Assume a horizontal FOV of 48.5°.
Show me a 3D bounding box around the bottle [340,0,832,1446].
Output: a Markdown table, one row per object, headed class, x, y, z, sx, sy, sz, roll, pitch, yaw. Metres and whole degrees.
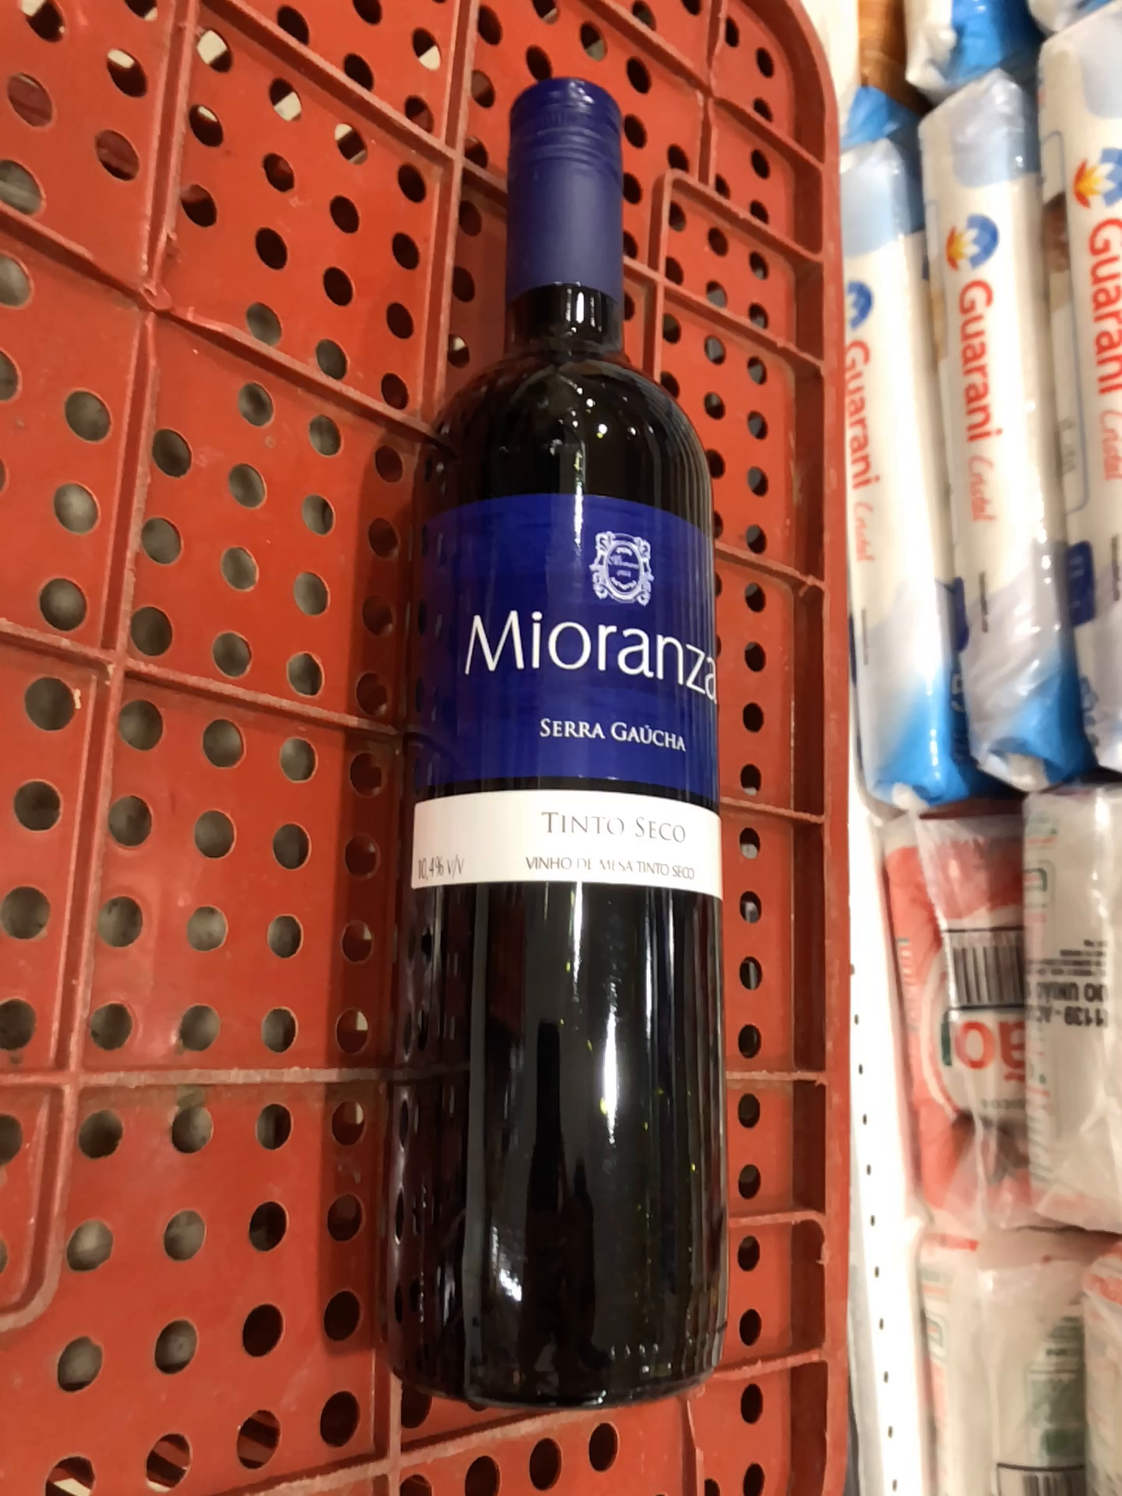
| class | x | y | z | sx | sy | sz | roll | pitch | yaw |
| --- | --- | --- | --- | --- | --- | --- | --- | --- | --- |
| bottle | 0.006 | -0.022 | 0.279 | 0.080 | 0.060 | 0.300 | 7 | 77 | -23 |
